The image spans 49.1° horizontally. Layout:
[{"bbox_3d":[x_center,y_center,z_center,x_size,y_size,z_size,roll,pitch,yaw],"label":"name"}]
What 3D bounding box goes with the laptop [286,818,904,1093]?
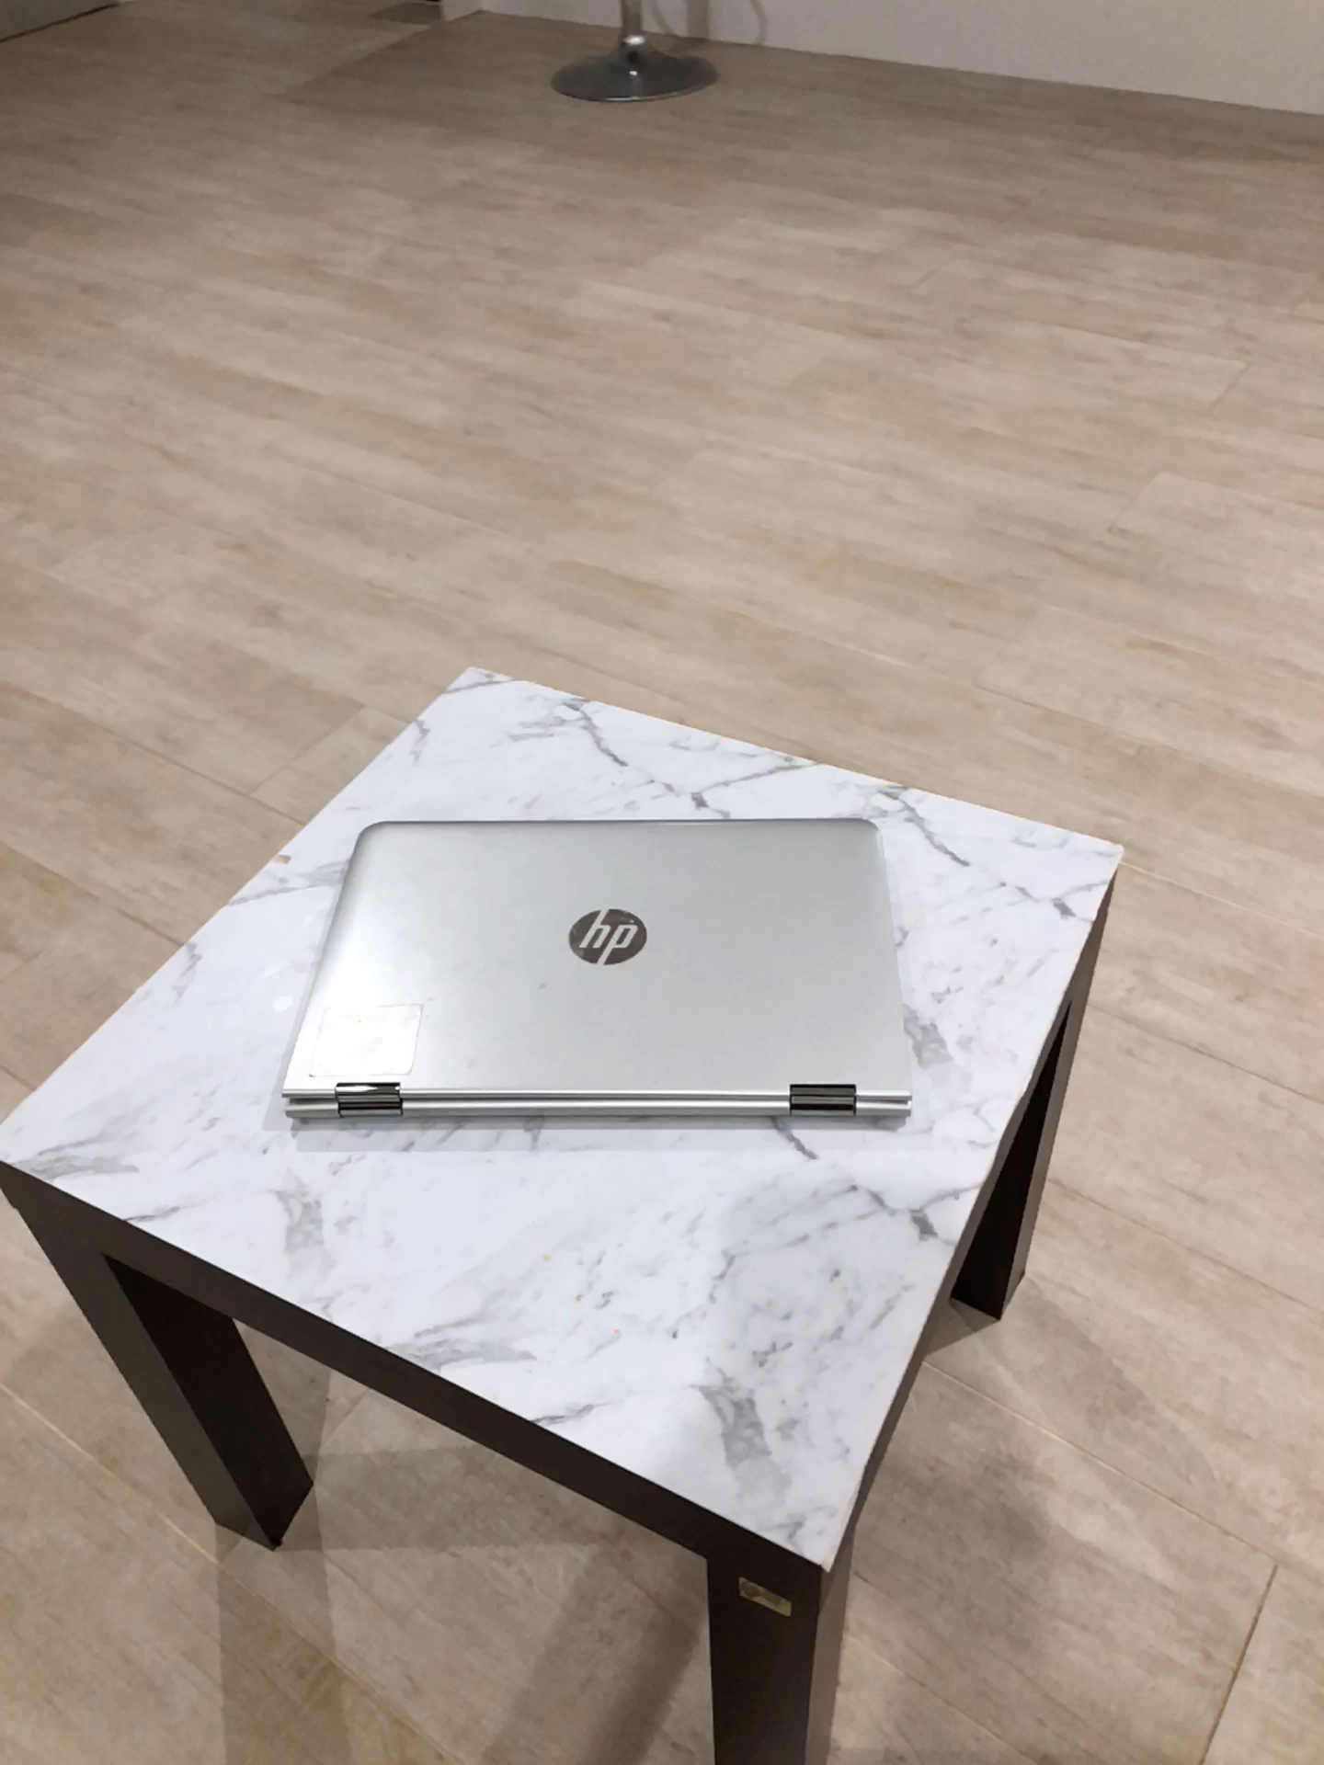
[{"bbox_3d":[-0.030,0.031,0.755,0.292,0.001,0.198,0,43,3],"label":"laptop"}]
